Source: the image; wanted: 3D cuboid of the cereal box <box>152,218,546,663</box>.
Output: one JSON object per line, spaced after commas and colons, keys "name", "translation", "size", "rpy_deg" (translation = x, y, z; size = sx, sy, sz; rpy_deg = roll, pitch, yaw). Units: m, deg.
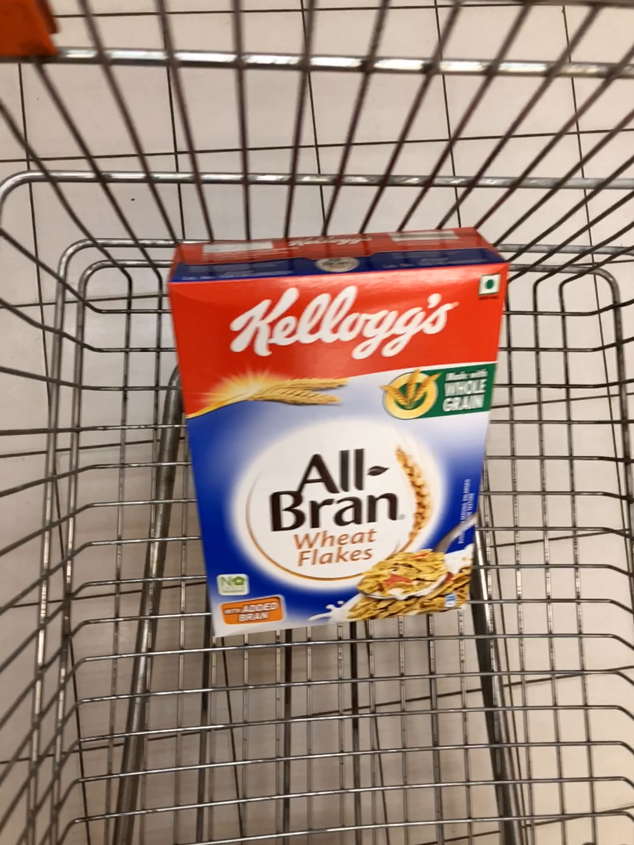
{"name": "cereal box", "translation": [0.013, 0.021, 0.441], "size": [0.190, 0.080, 0.270], "rpy_deg": [-4, 124, -6]}
